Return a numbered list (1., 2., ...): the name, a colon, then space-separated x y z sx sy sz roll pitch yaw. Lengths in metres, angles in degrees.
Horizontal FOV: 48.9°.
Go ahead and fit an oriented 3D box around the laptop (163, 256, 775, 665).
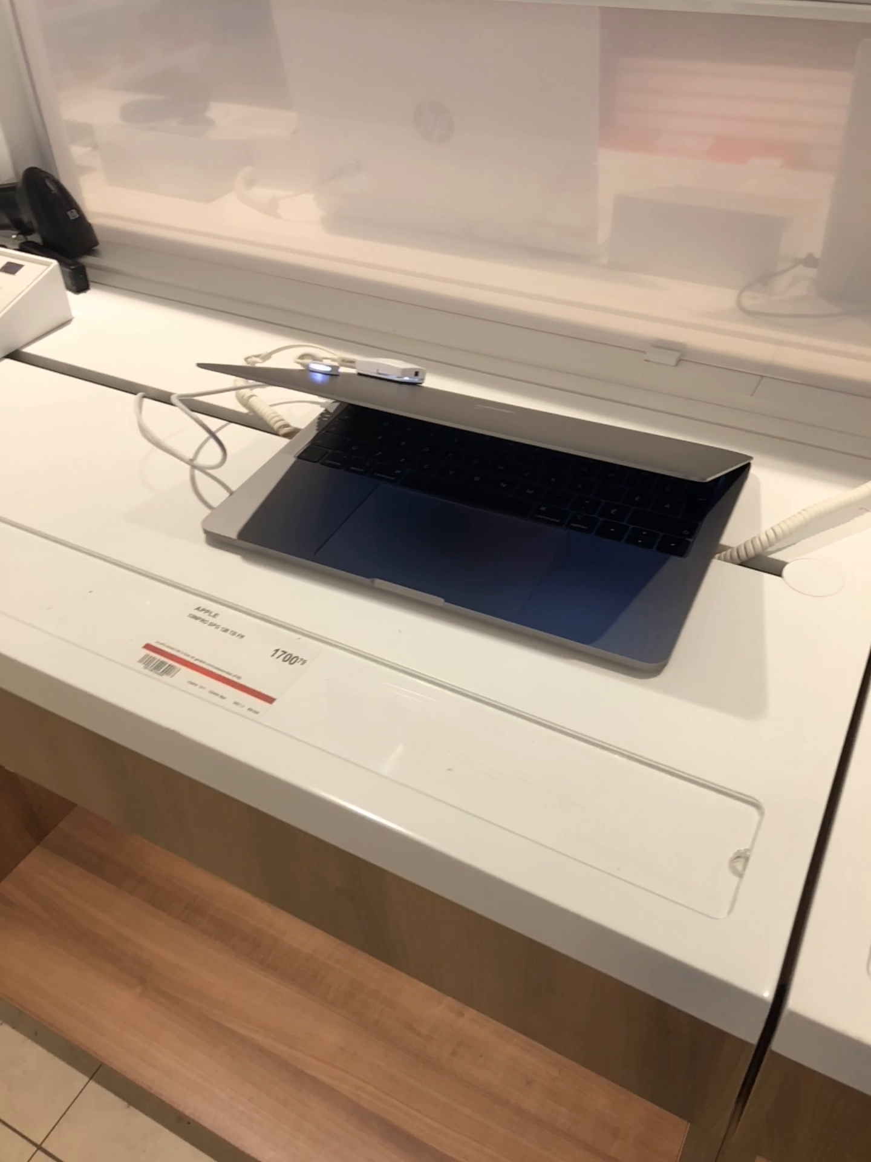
1. laptop: 0.026 -0.094 0.595 0.304 0.104 0.202 16 44 21
